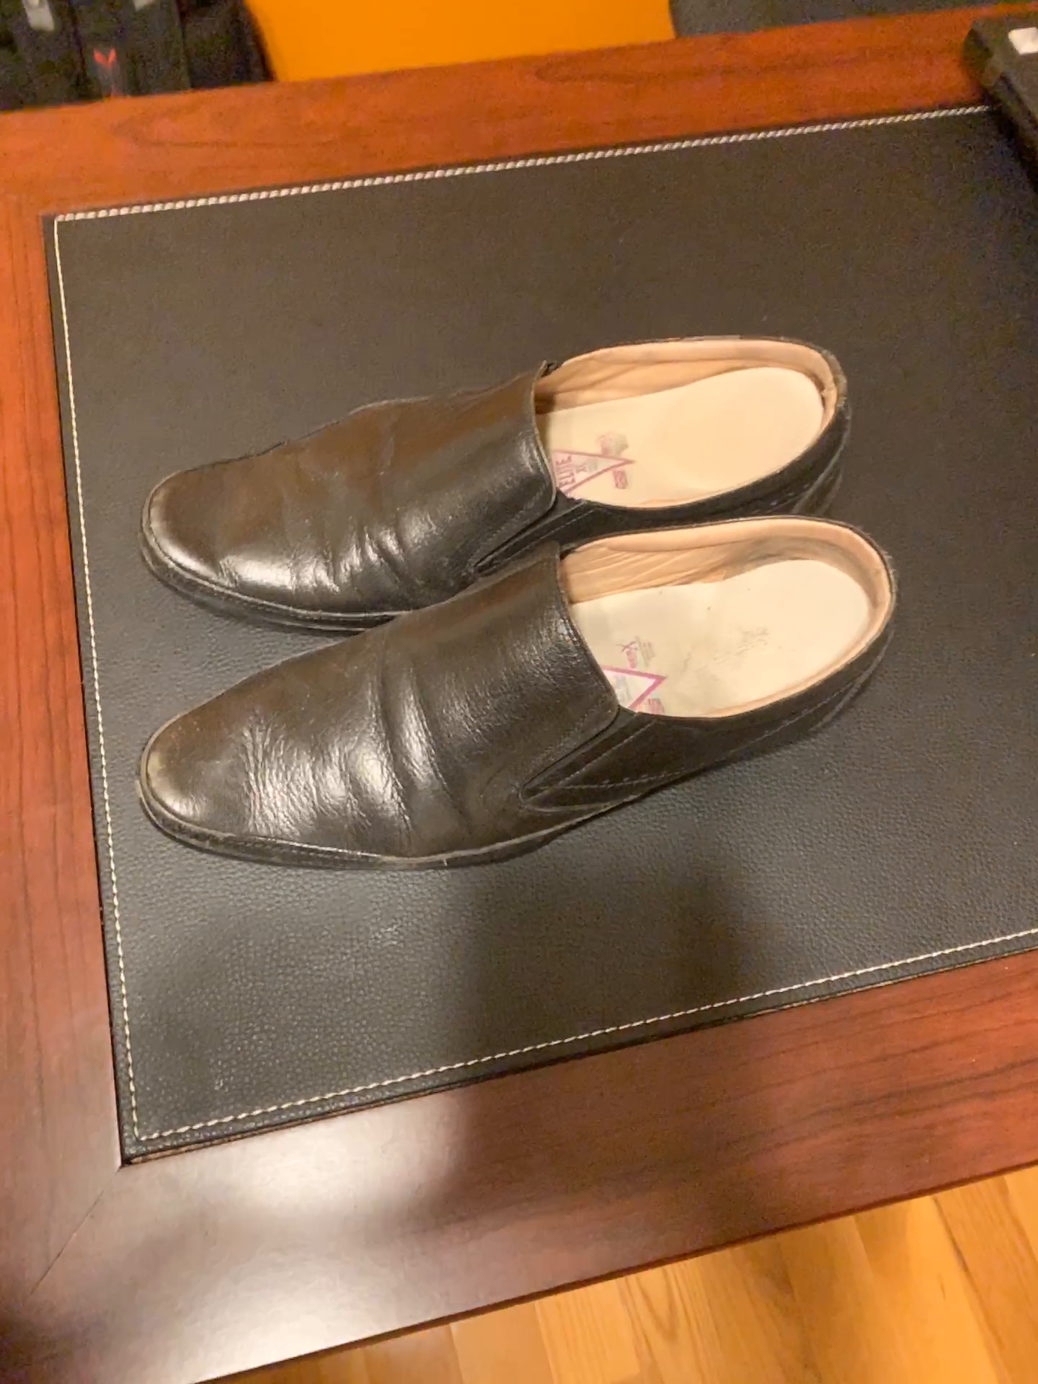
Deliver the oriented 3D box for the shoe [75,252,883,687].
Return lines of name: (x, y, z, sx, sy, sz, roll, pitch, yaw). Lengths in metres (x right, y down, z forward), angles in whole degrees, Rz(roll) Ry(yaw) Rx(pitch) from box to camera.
shoe: (-0.017, -0.091, 0.432, 0.284, 0.077, 0.110, -10, 69, -8)

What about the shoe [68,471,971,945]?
shoe: (-0.002, 0.006, 0.389, 0.284, 0.077, 0.106, -10, 69, -8)
